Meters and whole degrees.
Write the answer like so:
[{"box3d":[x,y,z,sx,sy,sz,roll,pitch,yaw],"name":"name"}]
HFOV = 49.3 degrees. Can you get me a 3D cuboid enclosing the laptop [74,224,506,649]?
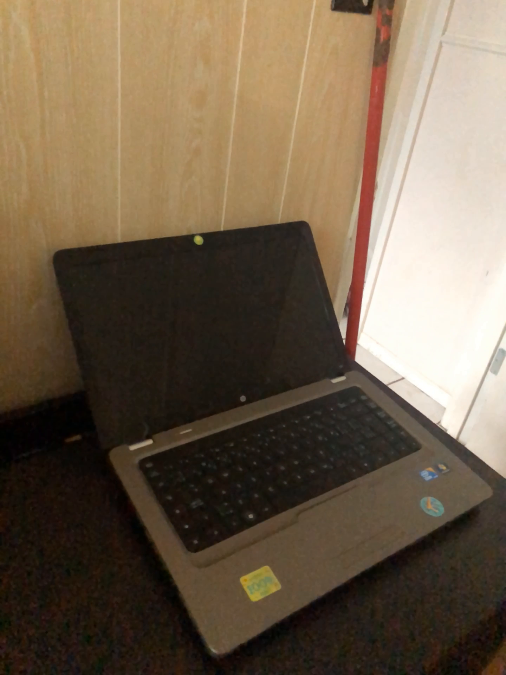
[{"box3d":[0.036,0.044,0.639,0.356,0.166,0.403,-14,39,-30],"name":"laptop"}]
